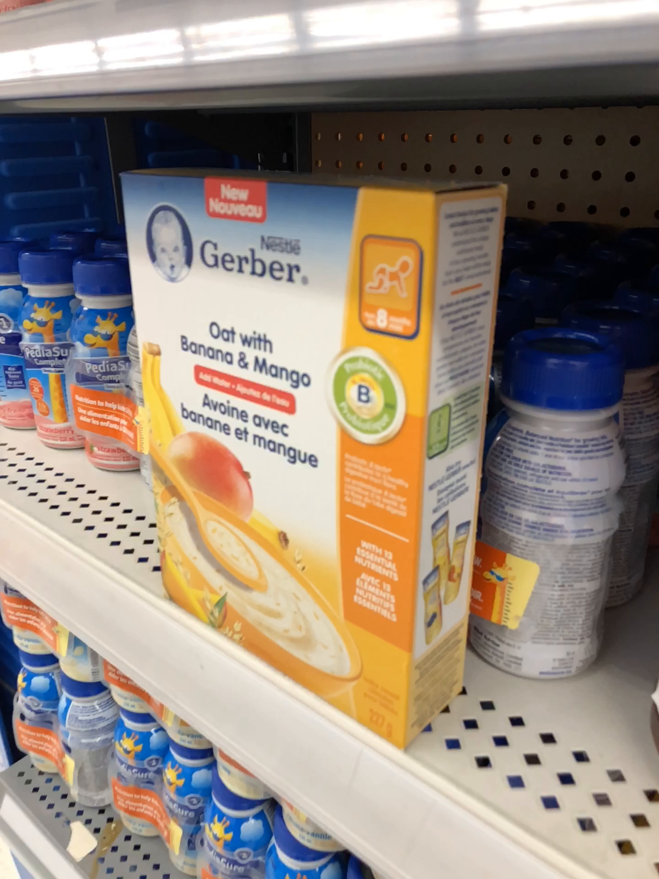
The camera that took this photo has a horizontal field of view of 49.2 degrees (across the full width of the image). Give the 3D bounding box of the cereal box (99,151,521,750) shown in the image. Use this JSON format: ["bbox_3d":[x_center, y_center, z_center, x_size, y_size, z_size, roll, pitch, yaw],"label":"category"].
[{"bbox_3d":[-0.016,-0.005,0.273,0.150,0.189,0.040,20,31,37],"label":"cereal box"}]
